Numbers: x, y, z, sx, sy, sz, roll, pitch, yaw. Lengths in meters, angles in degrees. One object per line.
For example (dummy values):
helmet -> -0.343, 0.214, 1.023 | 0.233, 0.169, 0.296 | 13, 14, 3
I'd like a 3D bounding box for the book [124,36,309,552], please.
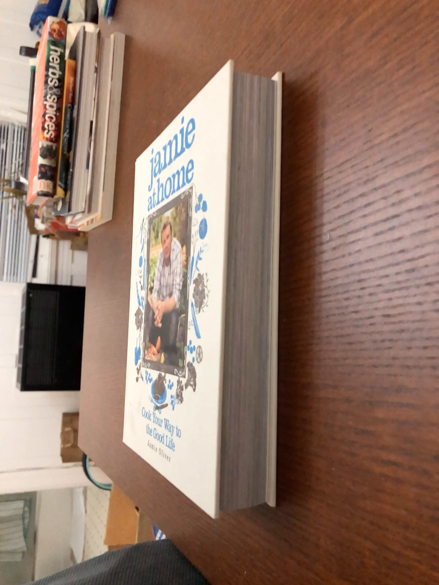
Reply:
book -> -0.017, 0.002, 0.347 | 0.211, 0.040, 0.260 | 172, 101, -66
